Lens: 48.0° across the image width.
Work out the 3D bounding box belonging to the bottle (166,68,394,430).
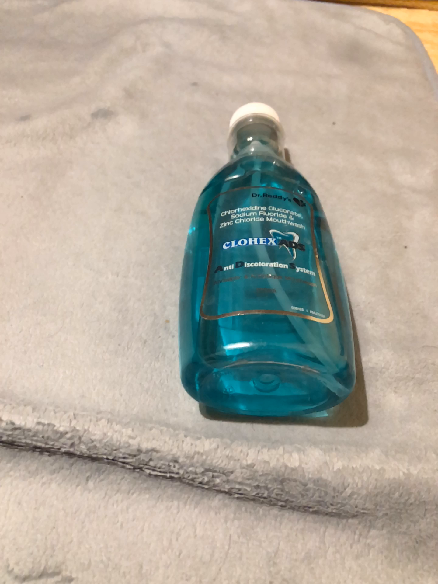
[{"bbox_3d":[0.019,-0.041,0.236,0.070,0.040,0.210,2,47,-1],"label":"bottle"}]
